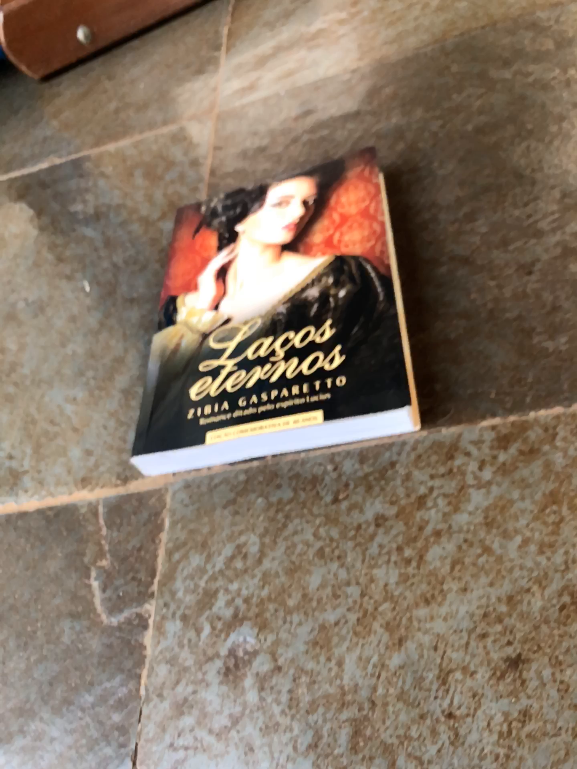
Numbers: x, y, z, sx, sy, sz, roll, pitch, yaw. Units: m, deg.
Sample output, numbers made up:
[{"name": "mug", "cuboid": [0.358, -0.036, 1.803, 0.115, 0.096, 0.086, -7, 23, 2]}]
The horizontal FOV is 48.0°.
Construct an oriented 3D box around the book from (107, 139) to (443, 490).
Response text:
[{"name": "book", "cuboid": [-0.009, -0.050, 0.362, 0.153, 0.026, 0.206, -11, 50, 13]}]
